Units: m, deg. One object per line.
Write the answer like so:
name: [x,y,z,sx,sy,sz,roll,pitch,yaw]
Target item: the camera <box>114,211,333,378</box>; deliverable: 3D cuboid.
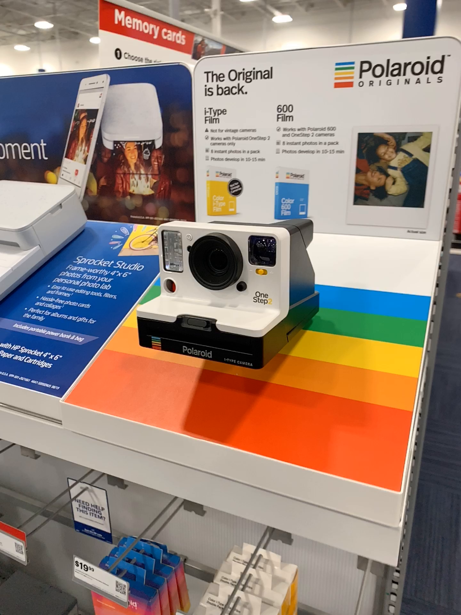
camera: [0.003,-0.024,0.411,0.130,0.090,0.150,9,21,23]
